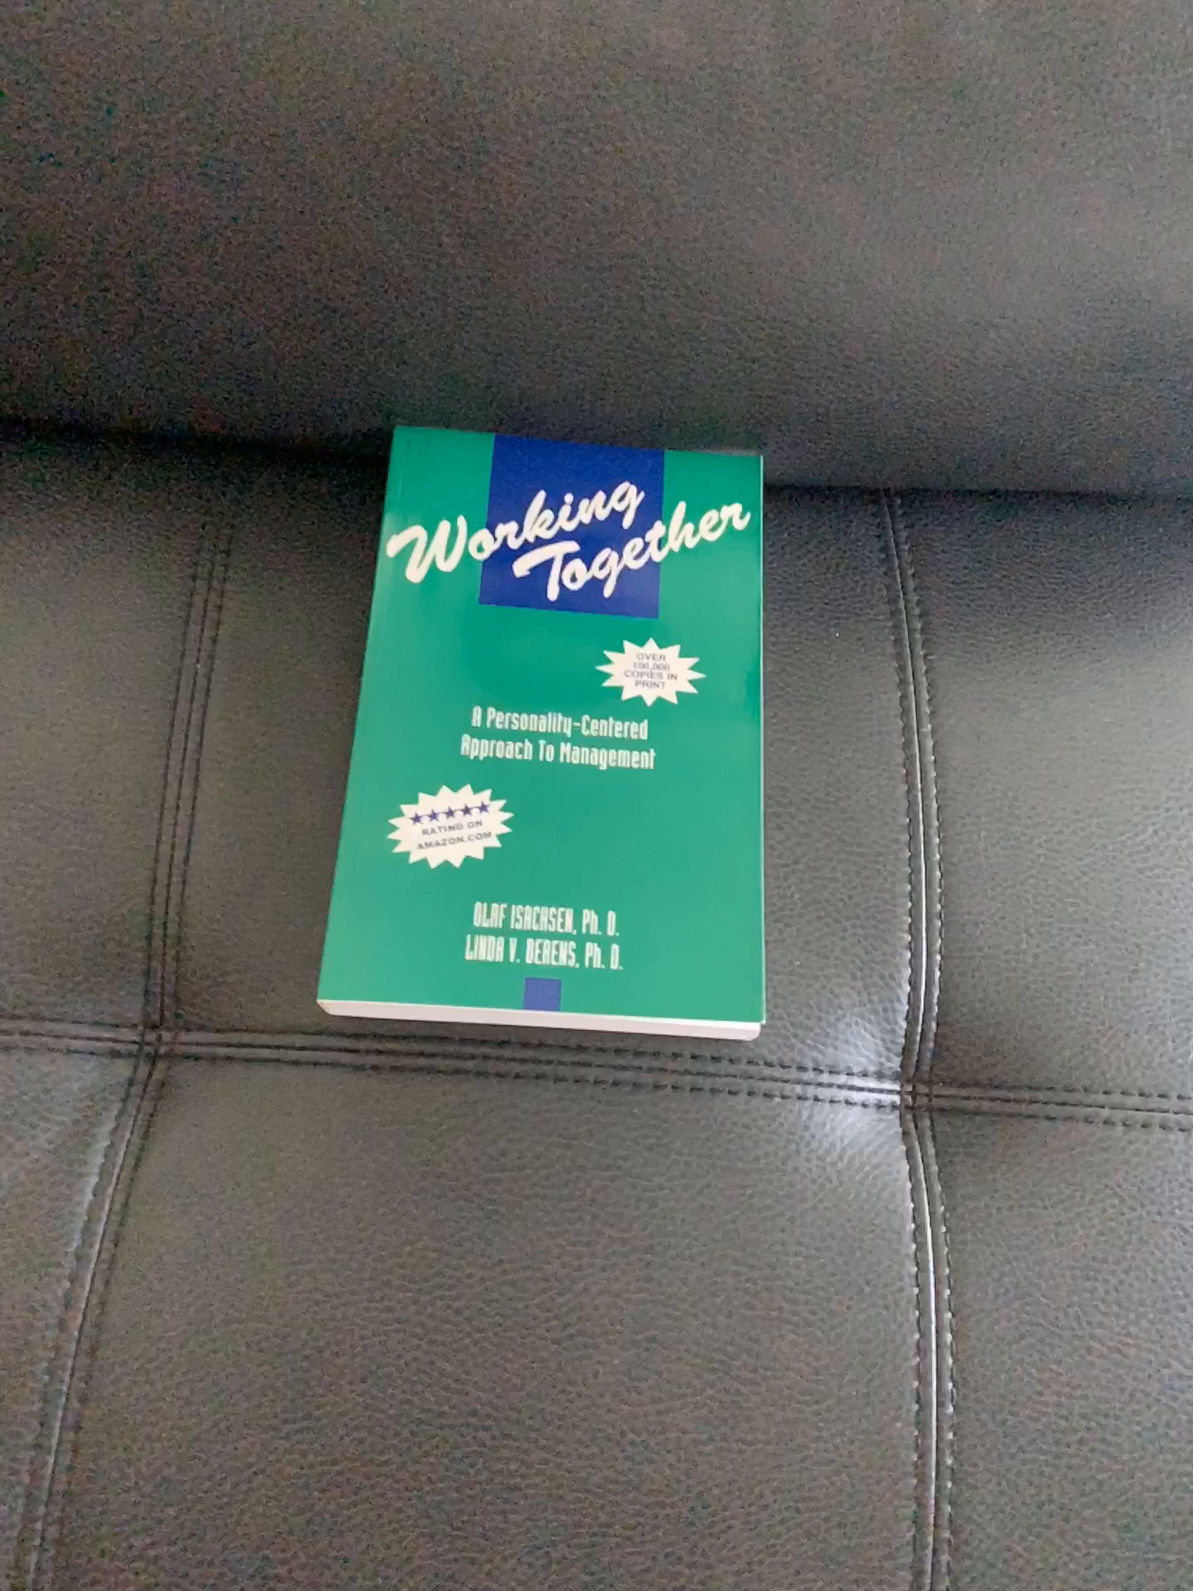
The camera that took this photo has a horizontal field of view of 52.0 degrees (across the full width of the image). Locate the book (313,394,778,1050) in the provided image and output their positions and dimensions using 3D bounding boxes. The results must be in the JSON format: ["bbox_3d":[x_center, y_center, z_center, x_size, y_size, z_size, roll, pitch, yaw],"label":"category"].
[{"bbox_3d":[-0.010,-0.030,0.416,0.137,0.033,0.217,5,69,-4],"label":"book"}]
